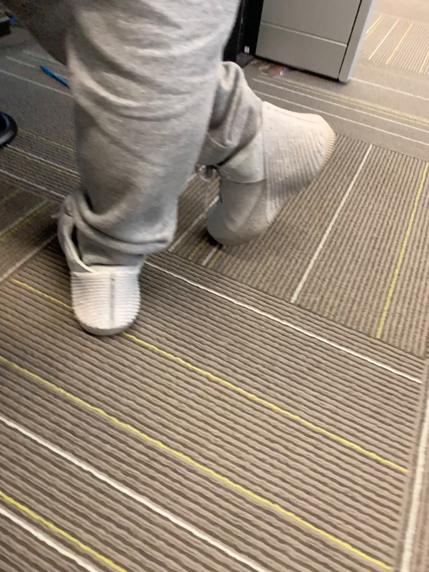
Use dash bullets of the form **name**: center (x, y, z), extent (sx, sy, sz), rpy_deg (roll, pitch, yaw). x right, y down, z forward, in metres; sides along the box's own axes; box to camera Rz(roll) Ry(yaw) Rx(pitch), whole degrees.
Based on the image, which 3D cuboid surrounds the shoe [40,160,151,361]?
- **shoe**: center (-0.188, -0.052, 0.685), extent (0.130, 0.149, 0.281), rpy_deg (-7, 48, -15)

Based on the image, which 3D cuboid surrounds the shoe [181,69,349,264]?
- **shoe**: center (0.066, -0.164, 0.686), extent (0.120, 0.279, 0.121), rpy_deg (20, 59, -19)
